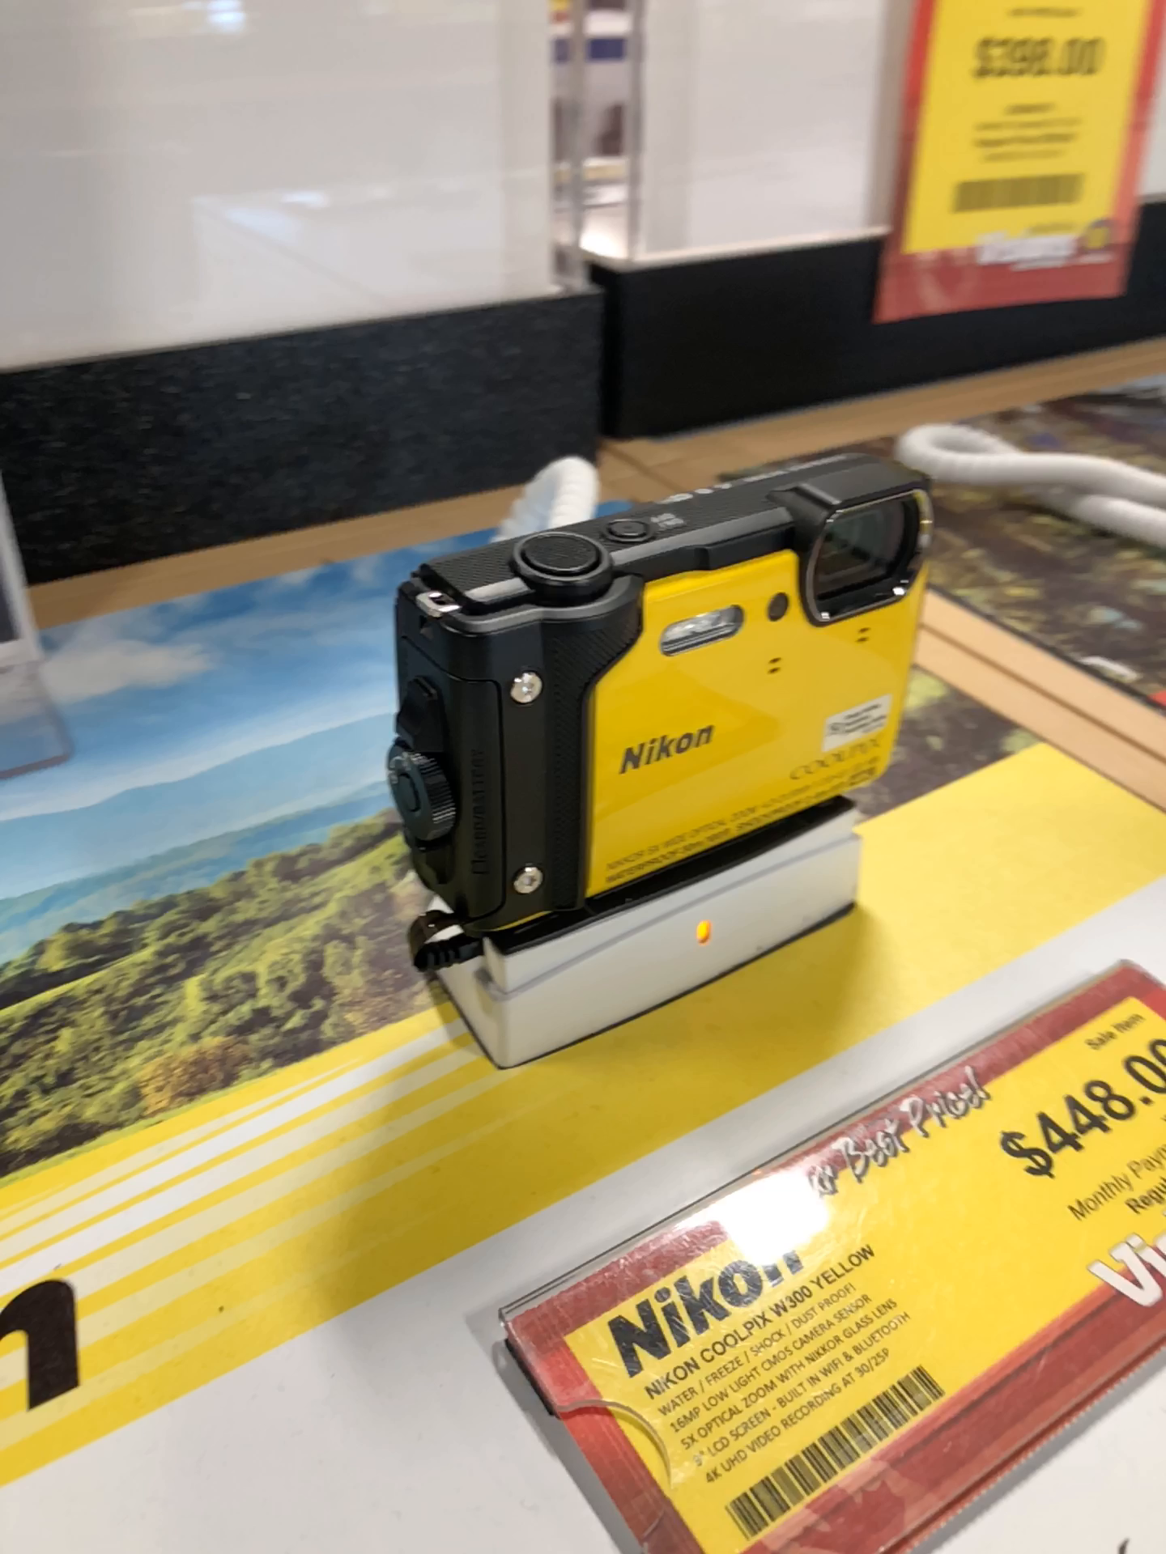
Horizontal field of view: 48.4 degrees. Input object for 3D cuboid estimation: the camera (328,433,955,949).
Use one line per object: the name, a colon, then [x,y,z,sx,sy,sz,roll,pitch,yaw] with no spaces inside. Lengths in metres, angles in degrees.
camera: [0.013,-0.020,0.237,0.110,0.060,0.030,-20,39,-28]
